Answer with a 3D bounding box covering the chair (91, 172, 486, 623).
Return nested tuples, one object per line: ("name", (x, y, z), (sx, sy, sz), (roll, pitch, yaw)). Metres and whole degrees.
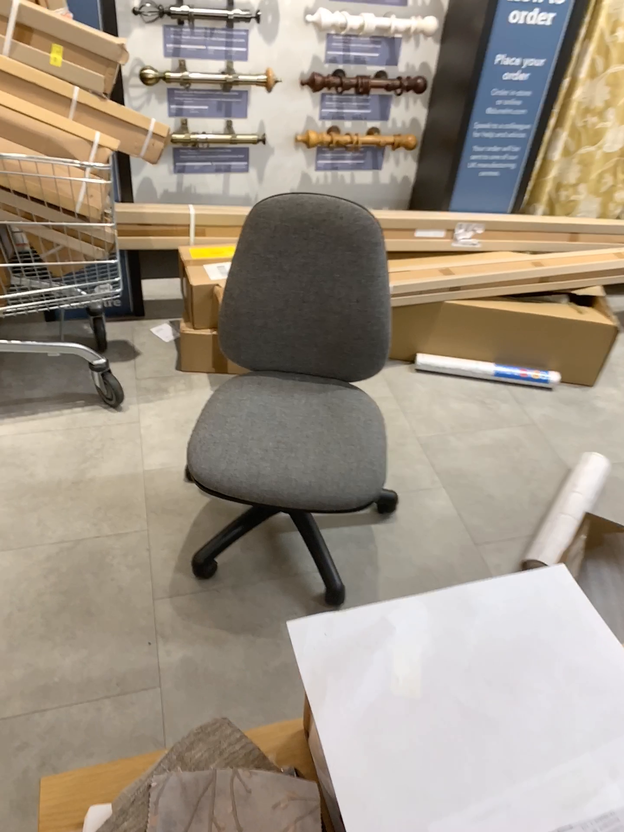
("chair", (-0.046, -0.043, 1.491), (0.627, 0.750, 0.629), (7, 40, 0))
